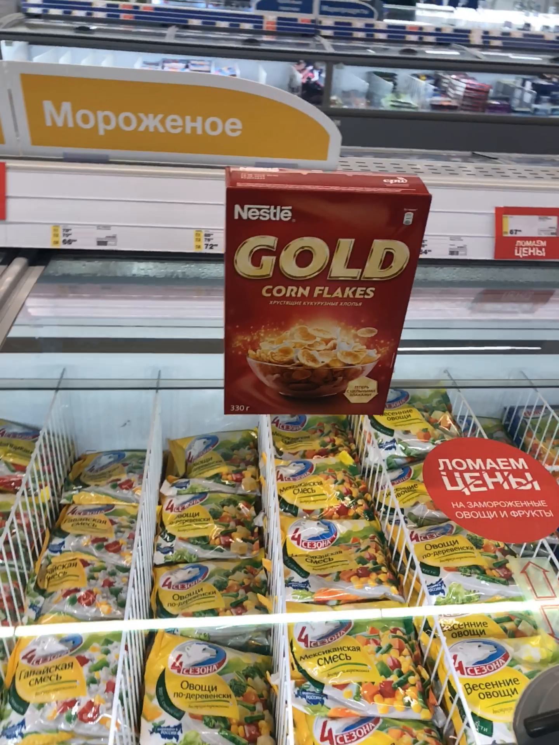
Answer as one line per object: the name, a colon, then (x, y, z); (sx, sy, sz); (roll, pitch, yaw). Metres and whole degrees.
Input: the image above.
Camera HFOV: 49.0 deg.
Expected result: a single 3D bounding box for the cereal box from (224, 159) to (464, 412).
cereal box: (0.049, -0.077, 0.638); (0.210, 0.258, 0.060); (1, 37, -6)
